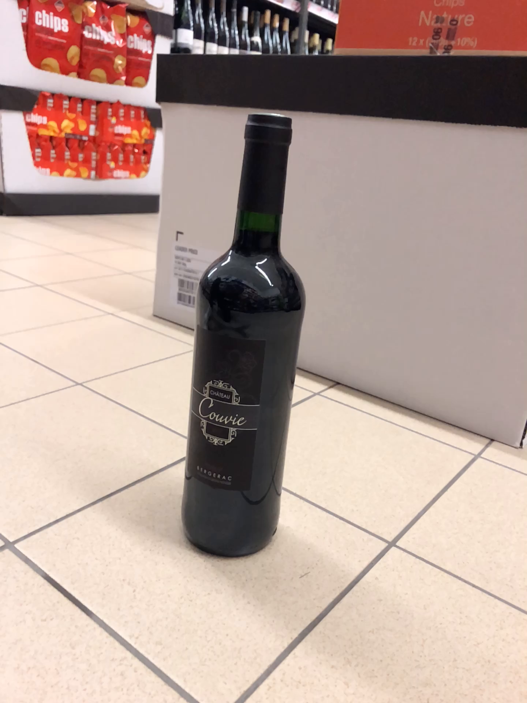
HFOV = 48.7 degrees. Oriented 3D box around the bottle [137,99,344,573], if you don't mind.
[{"bbox_3d":[-0.019,-0.009,0.400,0.090,0.289,0.091,5,18,-2],"label":"bottle"}]
